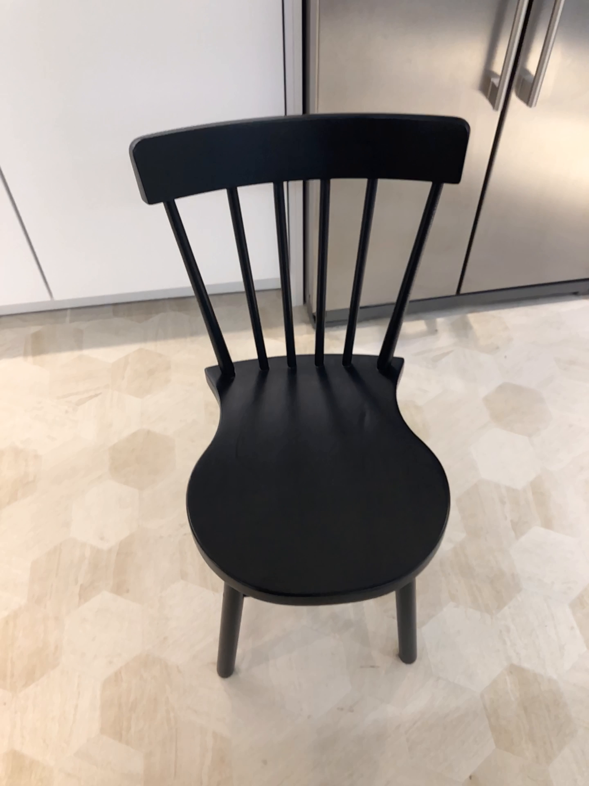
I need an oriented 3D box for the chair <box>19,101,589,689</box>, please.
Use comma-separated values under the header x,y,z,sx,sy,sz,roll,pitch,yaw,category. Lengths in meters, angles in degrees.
x,y,z,sx,sy,sz,roll,pitch,yaw,category
0.007,0.060,0.979,0.480,0.745,0.513,-3,51,-2,chair
